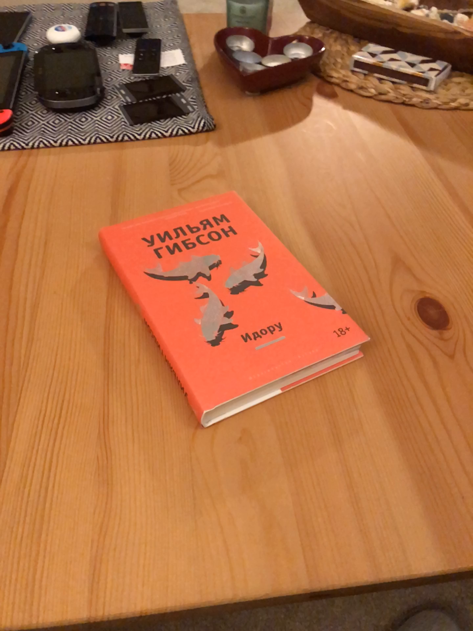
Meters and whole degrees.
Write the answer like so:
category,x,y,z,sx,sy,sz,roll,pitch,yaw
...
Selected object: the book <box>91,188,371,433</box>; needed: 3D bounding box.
category,x,y,z,sx,sy,sz,roll,pitch,yaw
book,-0.015,-0.022,0.411,0.134,0.020,0.208,-21,51,-20
